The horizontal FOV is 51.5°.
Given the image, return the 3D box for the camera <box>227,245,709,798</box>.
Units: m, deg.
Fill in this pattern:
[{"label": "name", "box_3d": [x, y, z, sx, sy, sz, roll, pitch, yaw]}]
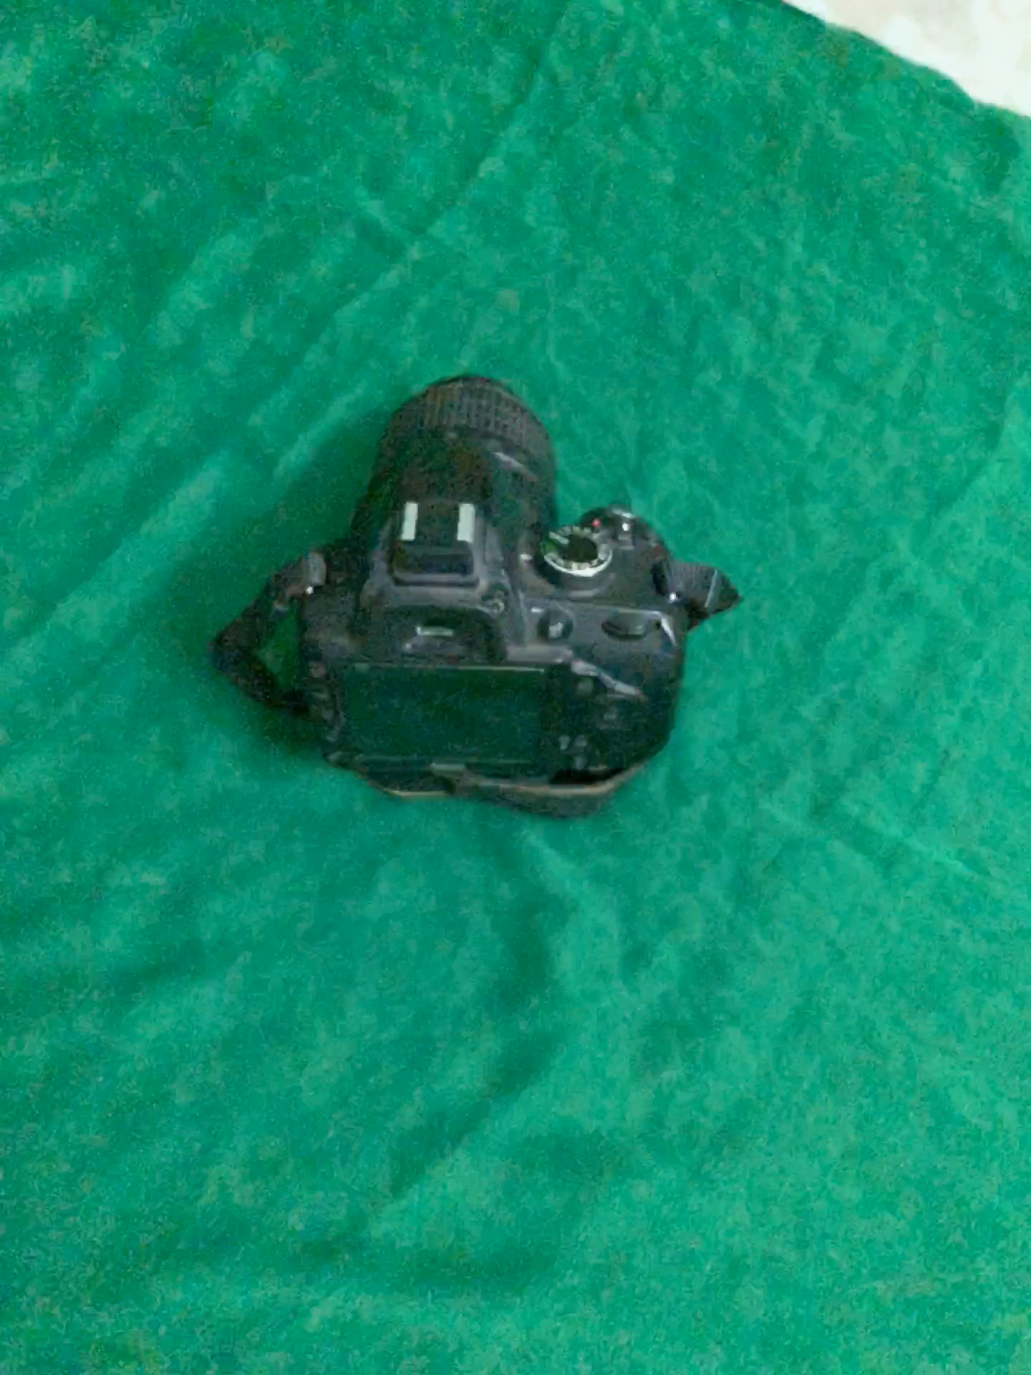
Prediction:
[{"label": "camera", "box_3d": [-0.014, -0.062, 0.384, 0.133, 0.100, 0.167, 4, 53, -2]}]
